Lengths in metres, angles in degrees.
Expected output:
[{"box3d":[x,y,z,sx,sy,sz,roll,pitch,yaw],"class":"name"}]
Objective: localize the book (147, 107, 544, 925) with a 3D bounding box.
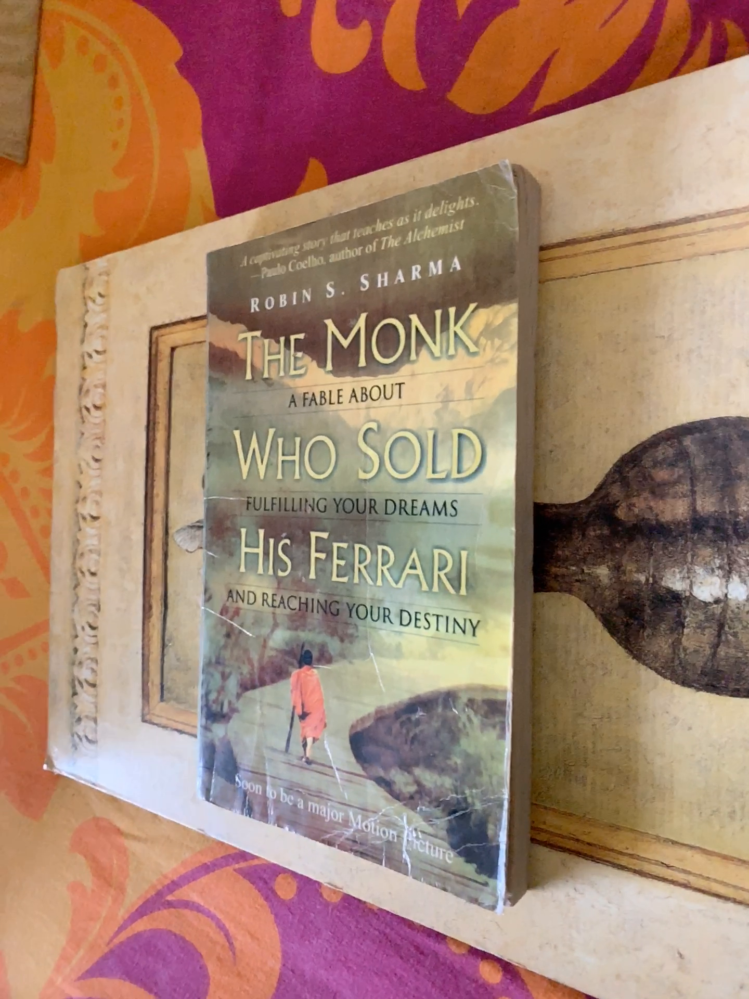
[{"box3d":[-0.015,0.003,0.242,0.131,0.030,0.200,0,89,37],"class":"book"}]
